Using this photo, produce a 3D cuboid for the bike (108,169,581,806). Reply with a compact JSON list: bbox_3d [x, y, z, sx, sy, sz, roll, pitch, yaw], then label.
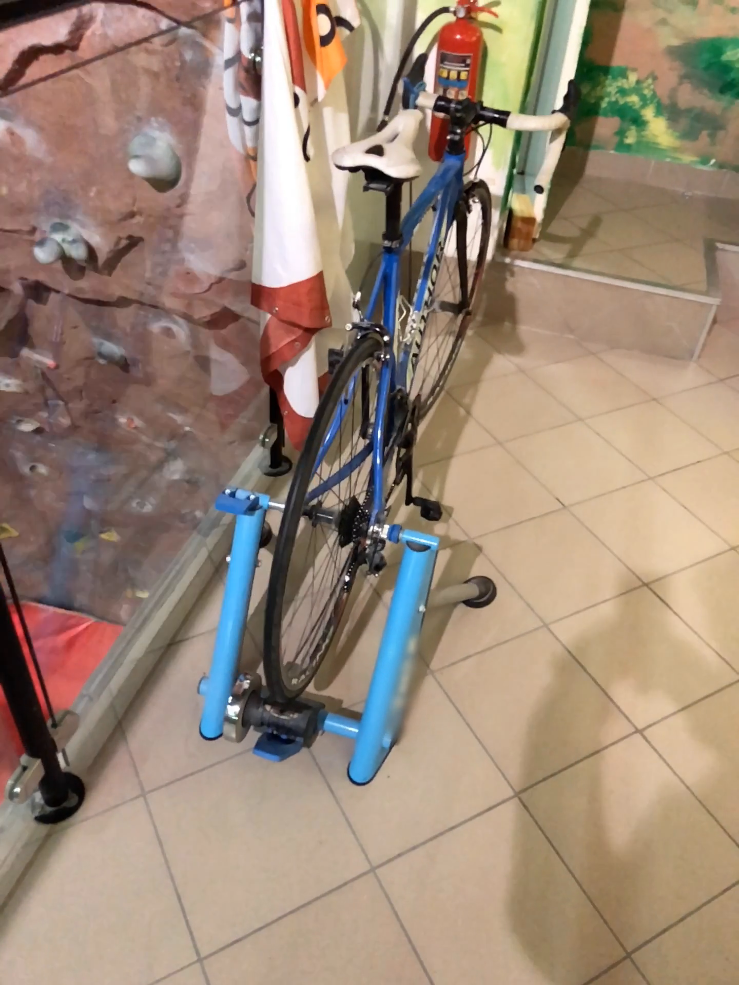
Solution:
[{"bbox_3d":[0.099,-0.190,1.815,0.465,0.682,1.560,14,36,11],"label":"bike"}]
